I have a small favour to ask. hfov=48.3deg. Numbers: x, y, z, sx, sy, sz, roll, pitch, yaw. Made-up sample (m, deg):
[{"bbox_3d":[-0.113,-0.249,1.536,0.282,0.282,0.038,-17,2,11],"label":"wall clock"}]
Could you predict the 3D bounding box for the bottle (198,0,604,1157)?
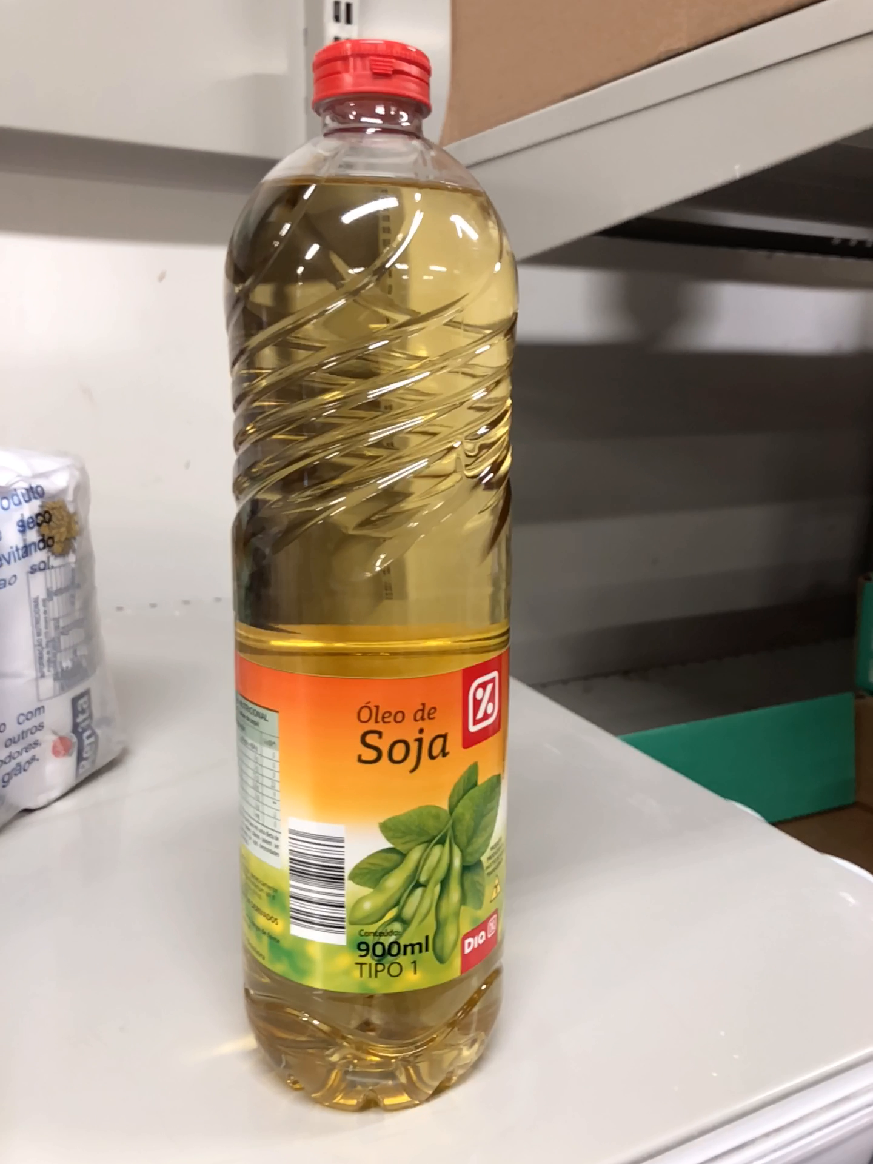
[{"bbox_3d":[-0.019,0.006,0.258,0.080,0.259,0.070,-1,13,-19],"label":"bottle"}]
